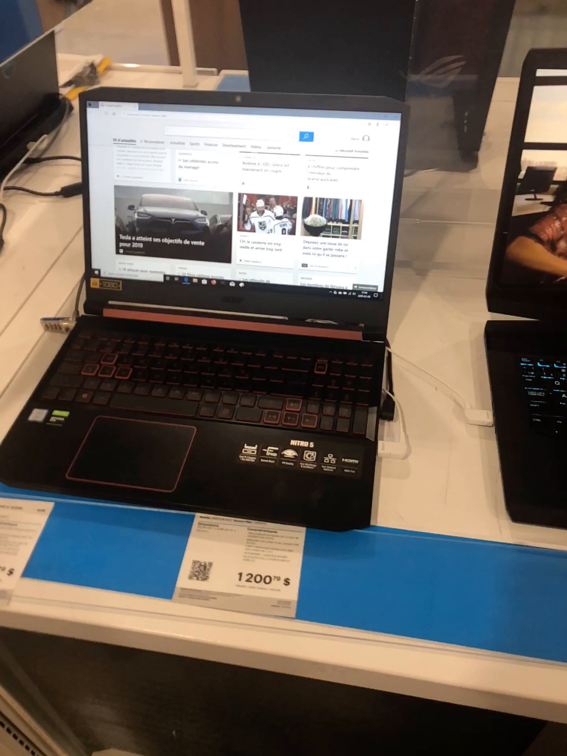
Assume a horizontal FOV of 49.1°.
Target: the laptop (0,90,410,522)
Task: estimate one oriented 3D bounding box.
[{"bbox_3d":[-0.075,-0.097,0.607,0.357,0.211,0.360,6,46,9],"label":"laptop"}]
